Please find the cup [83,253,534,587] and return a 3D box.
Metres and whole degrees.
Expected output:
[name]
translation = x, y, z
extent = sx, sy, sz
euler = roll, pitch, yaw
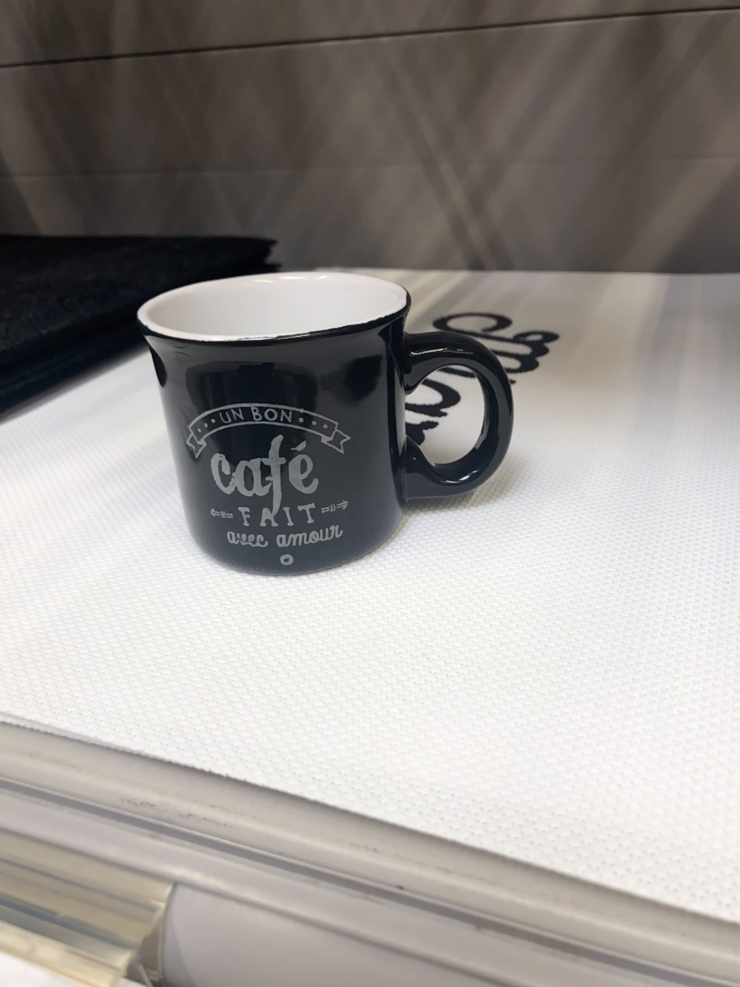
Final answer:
[cup]
translation = -0.012, -0.024, 0.231
extent = 0.100, 0.064, 0.075
euler = -3, 27, 1
